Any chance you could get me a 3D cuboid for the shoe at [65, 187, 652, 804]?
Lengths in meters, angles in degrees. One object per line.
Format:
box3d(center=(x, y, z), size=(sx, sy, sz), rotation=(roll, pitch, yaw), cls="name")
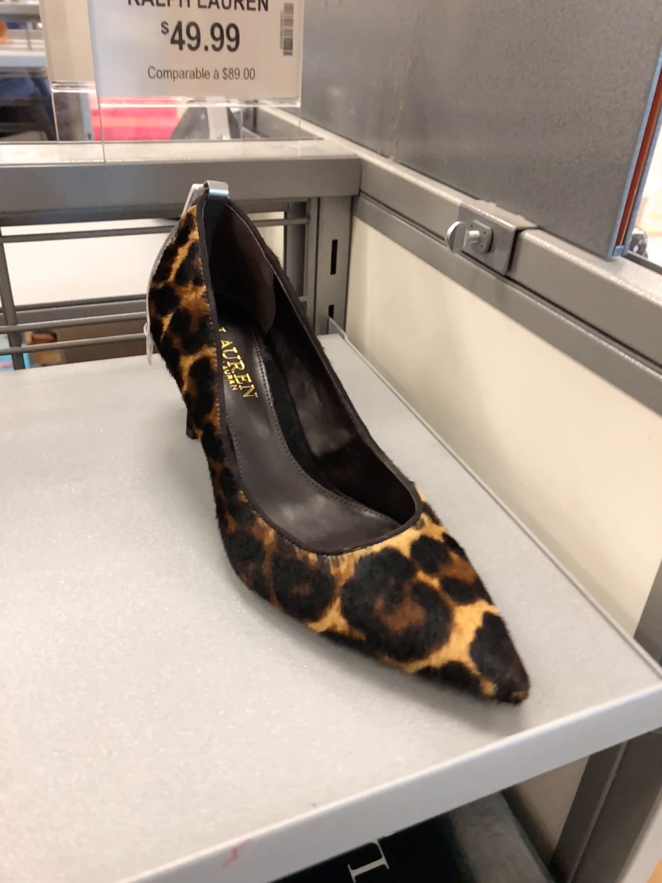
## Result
box3d(center=(-0.021, -0.011, 0.322), size=(0.090, 0.129, 0.271), rotation=(-17, 37, -30), cls="shoe")
